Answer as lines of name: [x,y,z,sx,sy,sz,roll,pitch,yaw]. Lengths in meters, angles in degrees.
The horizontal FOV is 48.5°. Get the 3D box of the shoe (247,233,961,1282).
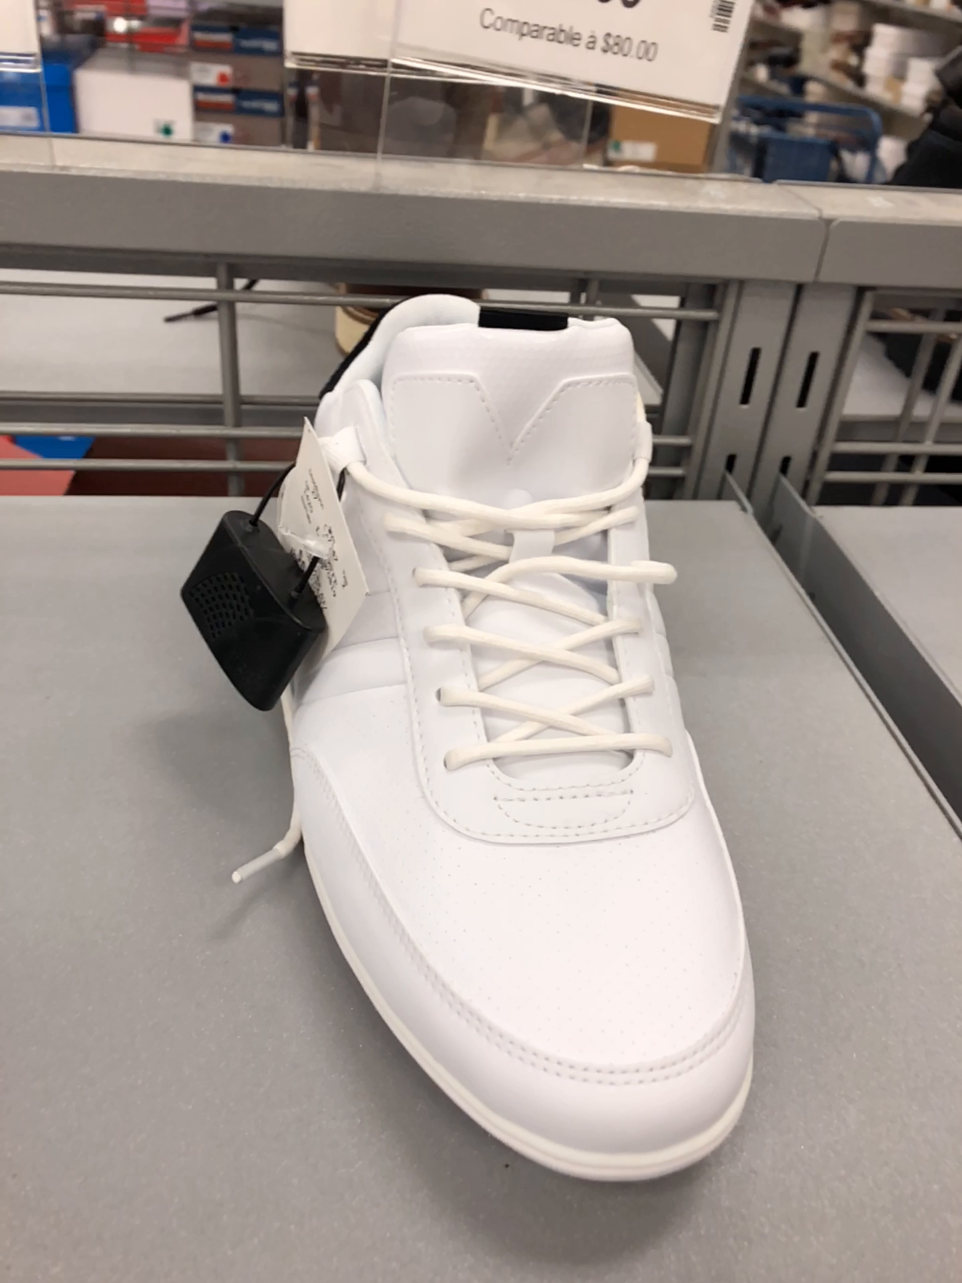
shoe: [0.003,-0.009,0.283,0.110,0.119,0.272,-3,35,-14]
